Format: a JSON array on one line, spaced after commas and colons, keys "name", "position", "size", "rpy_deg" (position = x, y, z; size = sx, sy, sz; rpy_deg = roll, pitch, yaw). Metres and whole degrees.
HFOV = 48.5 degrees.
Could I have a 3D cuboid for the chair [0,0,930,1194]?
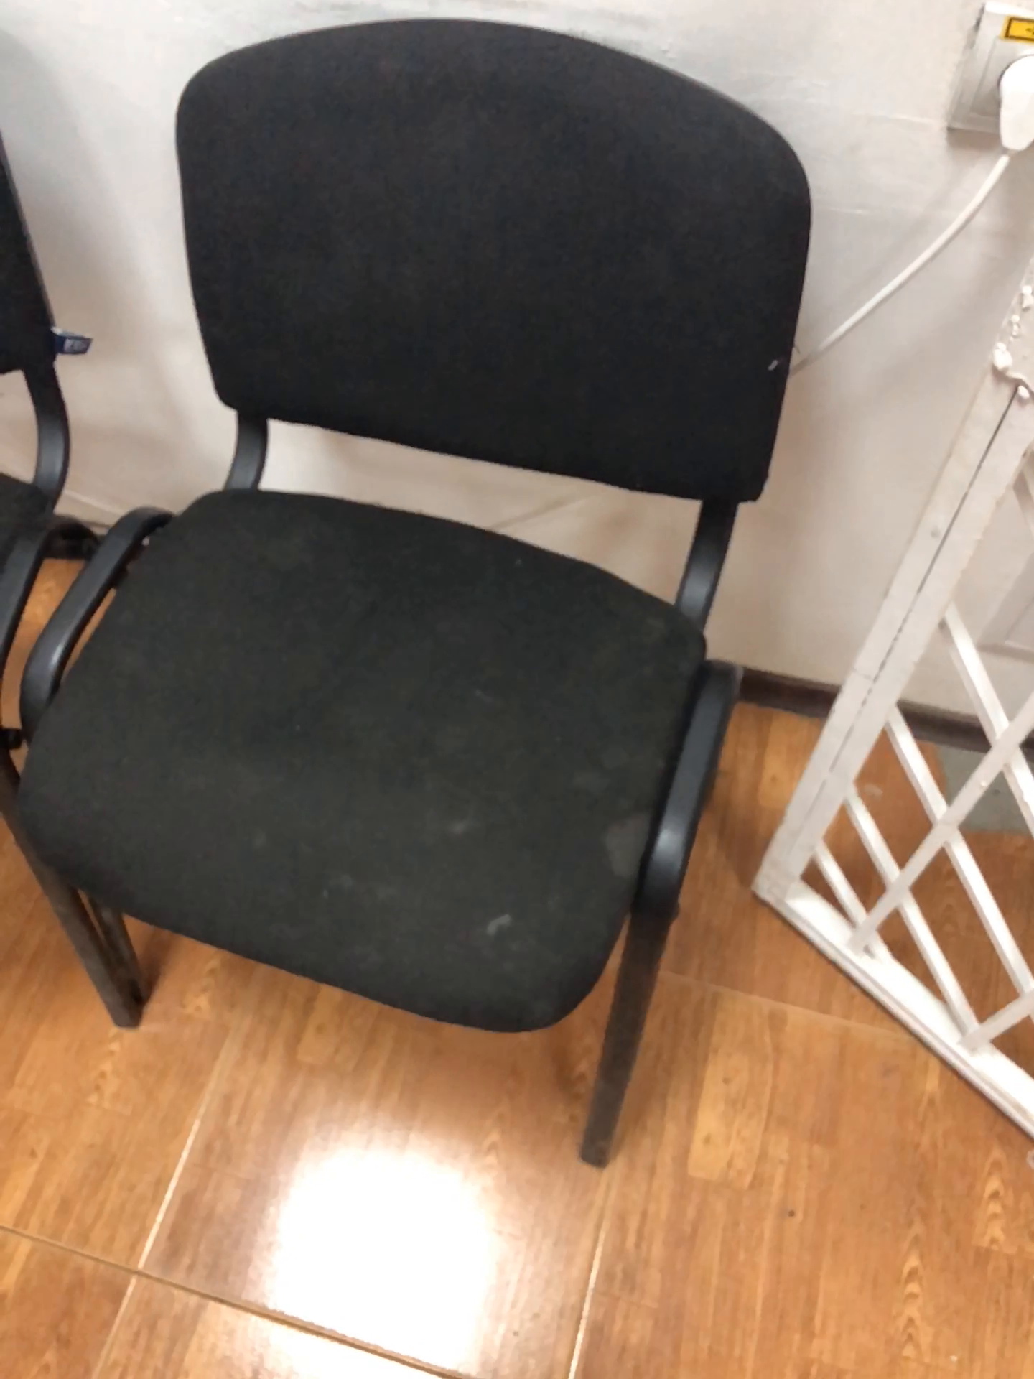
[{"name": "chair", "position": [-0.086, -0.013, 0.870], "size": [0.520, 0.748, 0.511], "rpy_deg": [14, 60, 9]}]
